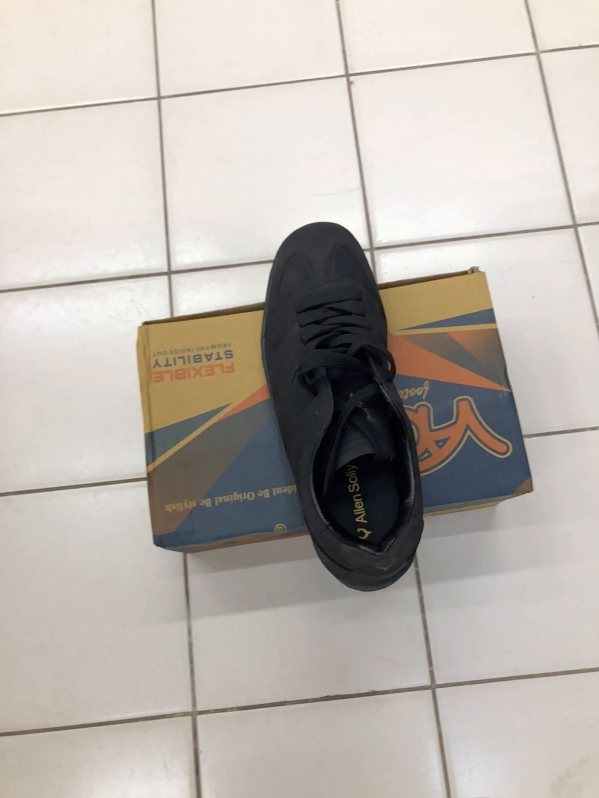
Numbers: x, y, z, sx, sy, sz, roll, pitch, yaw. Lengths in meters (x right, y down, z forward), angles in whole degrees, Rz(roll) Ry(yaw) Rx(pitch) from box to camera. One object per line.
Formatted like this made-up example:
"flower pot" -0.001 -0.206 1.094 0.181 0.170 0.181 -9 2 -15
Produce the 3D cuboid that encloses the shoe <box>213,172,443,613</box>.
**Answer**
"shoe" 0.014 -0.005 0.436 0.090 0.080 0.260 -11 76 0
